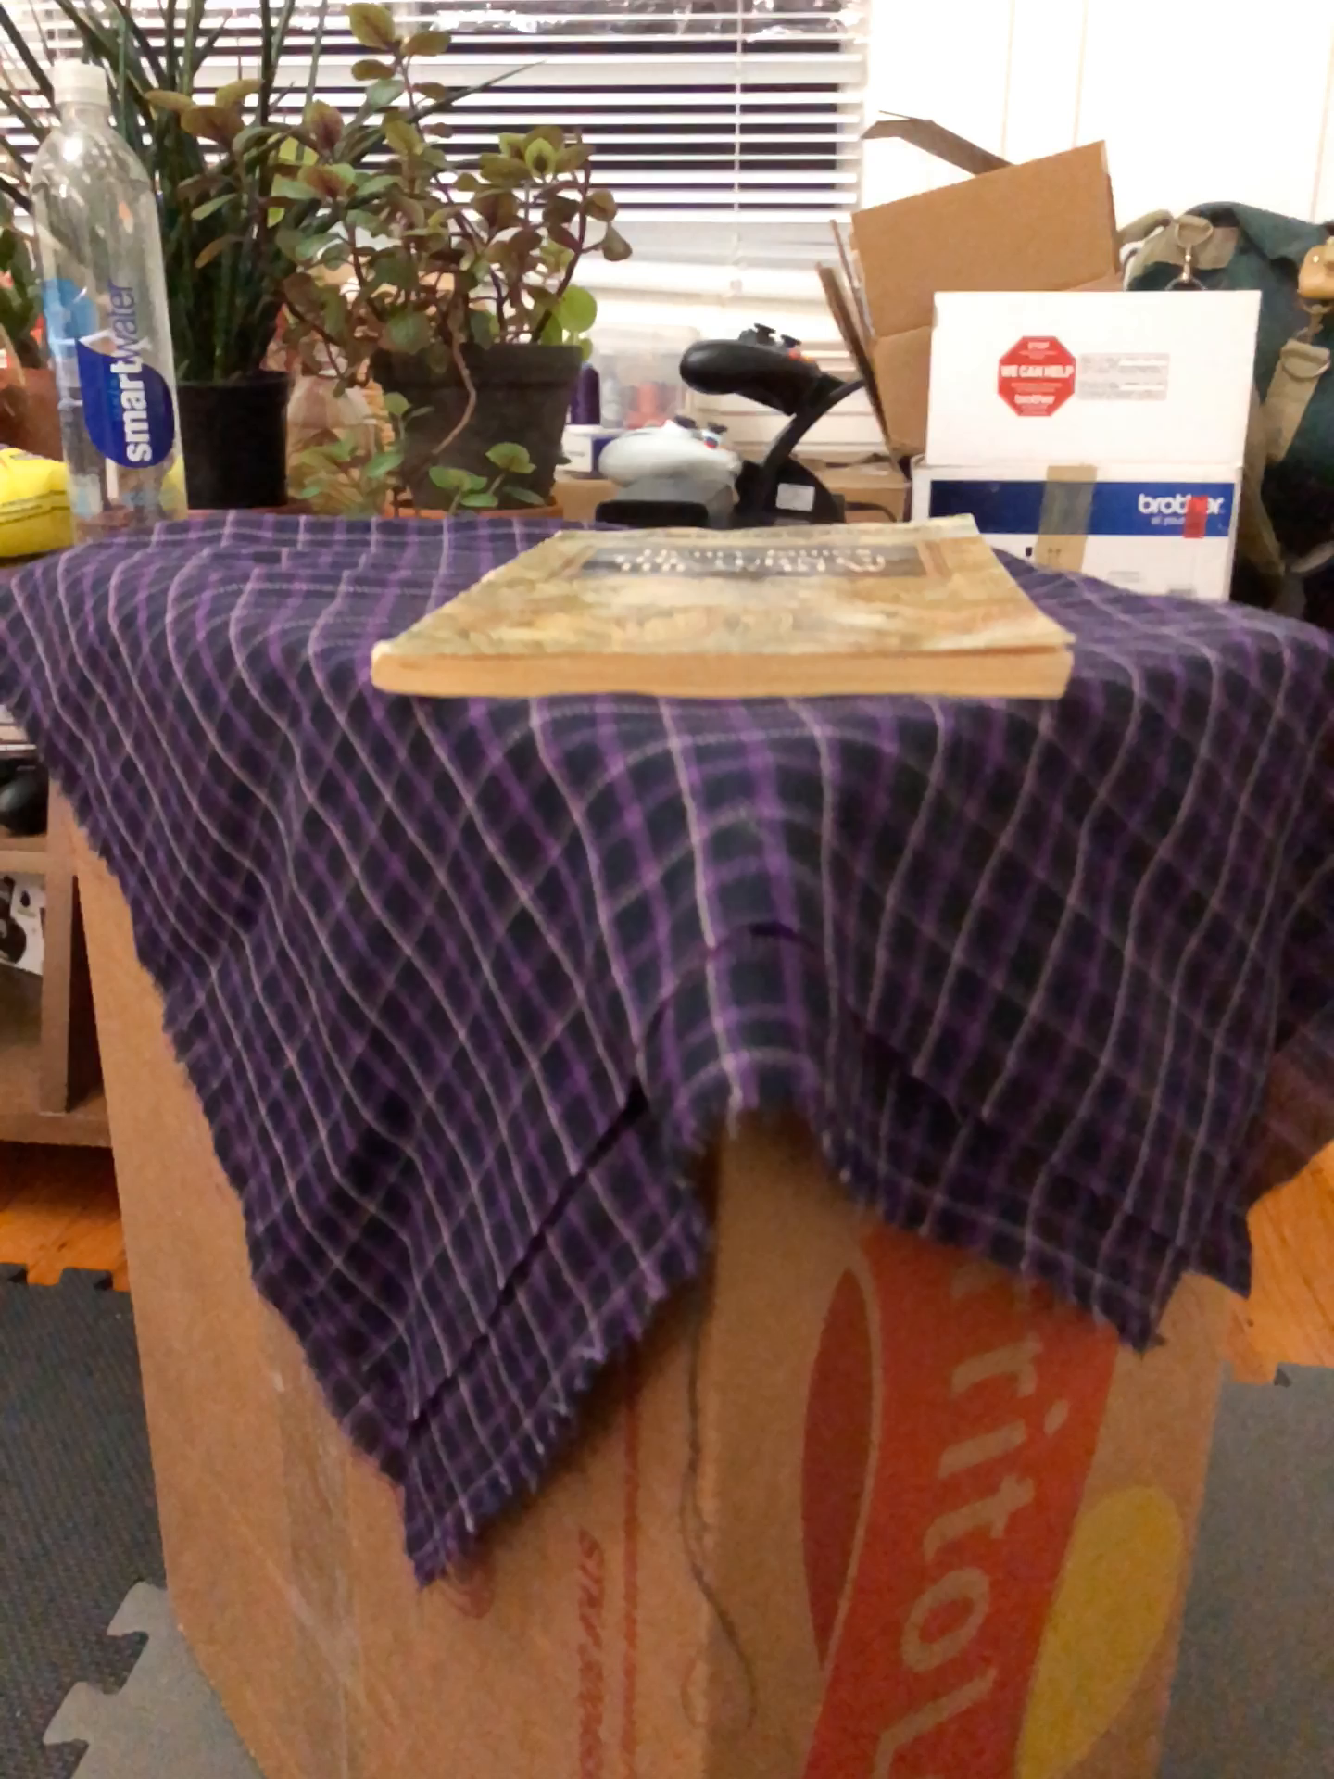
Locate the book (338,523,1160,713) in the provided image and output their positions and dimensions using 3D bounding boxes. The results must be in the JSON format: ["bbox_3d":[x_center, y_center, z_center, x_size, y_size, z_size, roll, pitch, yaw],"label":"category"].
[{"bbox_3d":[0.022,-0.073,0.356,0.140,0.010,0.221,2,19,5],"label":"book"}]
